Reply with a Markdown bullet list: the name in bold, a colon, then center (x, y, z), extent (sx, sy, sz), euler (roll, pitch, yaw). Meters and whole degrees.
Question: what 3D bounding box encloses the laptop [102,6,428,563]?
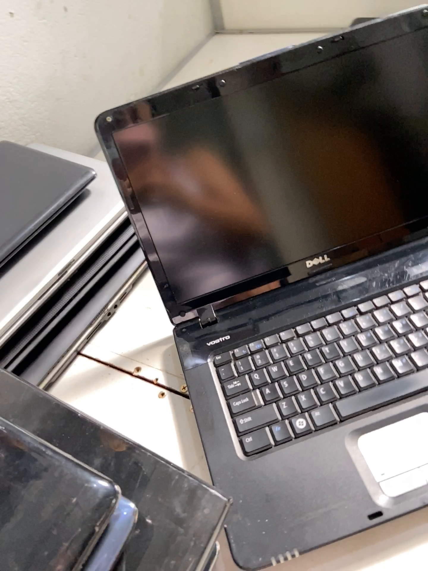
- **laptop**: center (0.126, -0.038, 0.390), extent (0.364, 0.203, 0.354), euler (-20, 45, -2)
